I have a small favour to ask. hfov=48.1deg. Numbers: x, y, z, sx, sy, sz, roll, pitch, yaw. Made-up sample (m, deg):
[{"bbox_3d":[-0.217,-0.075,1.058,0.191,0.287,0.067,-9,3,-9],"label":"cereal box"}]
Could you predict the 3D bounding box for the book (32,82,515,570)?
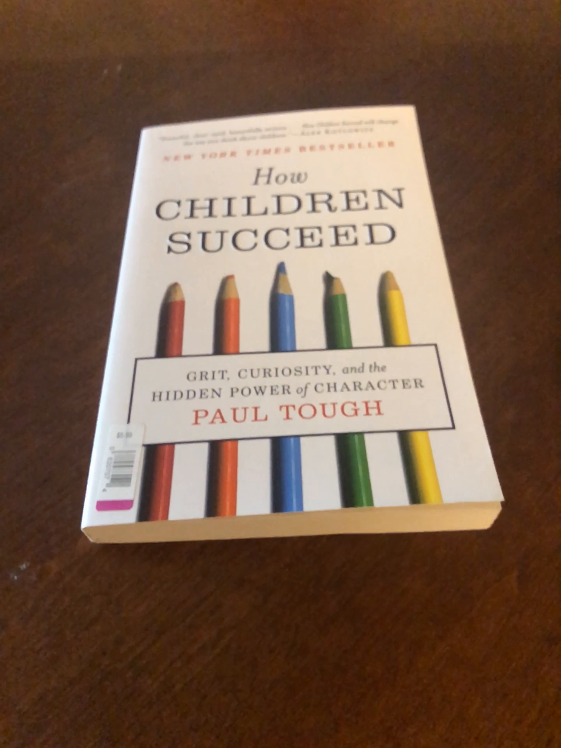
[{"bbox_3d":[-0.005,-0.035,0.251,0.140,0.030,0.211,-3,57,2],"label":"book"}]
